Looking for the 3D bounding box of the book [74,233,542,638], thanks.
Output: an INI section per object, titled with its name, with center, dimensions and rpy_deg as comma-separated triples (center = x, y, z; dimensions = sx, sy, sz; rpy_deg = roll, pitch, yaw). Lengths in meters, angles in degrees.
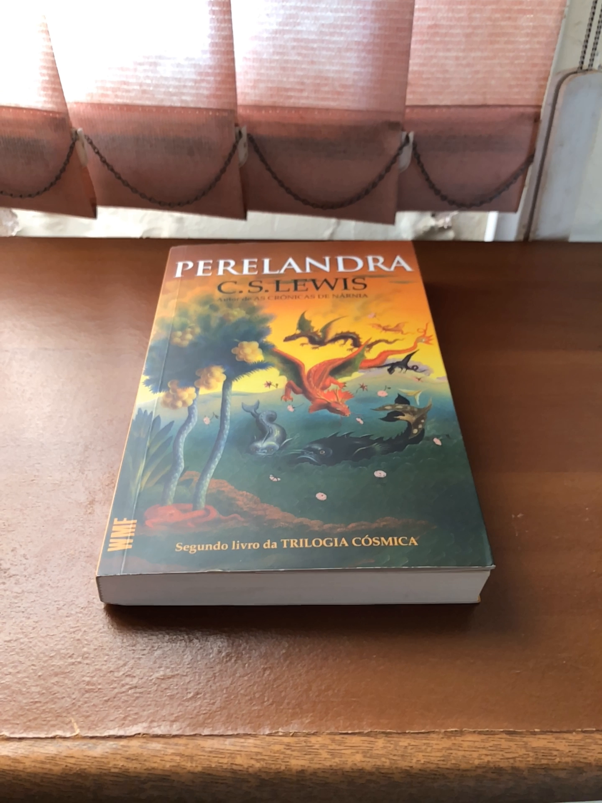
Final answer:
[book]
center = 0.001, -0.005, 0.267
dimensions = 0.130, 0.030, 0.191
rpy_deg = -1, 42, 0
